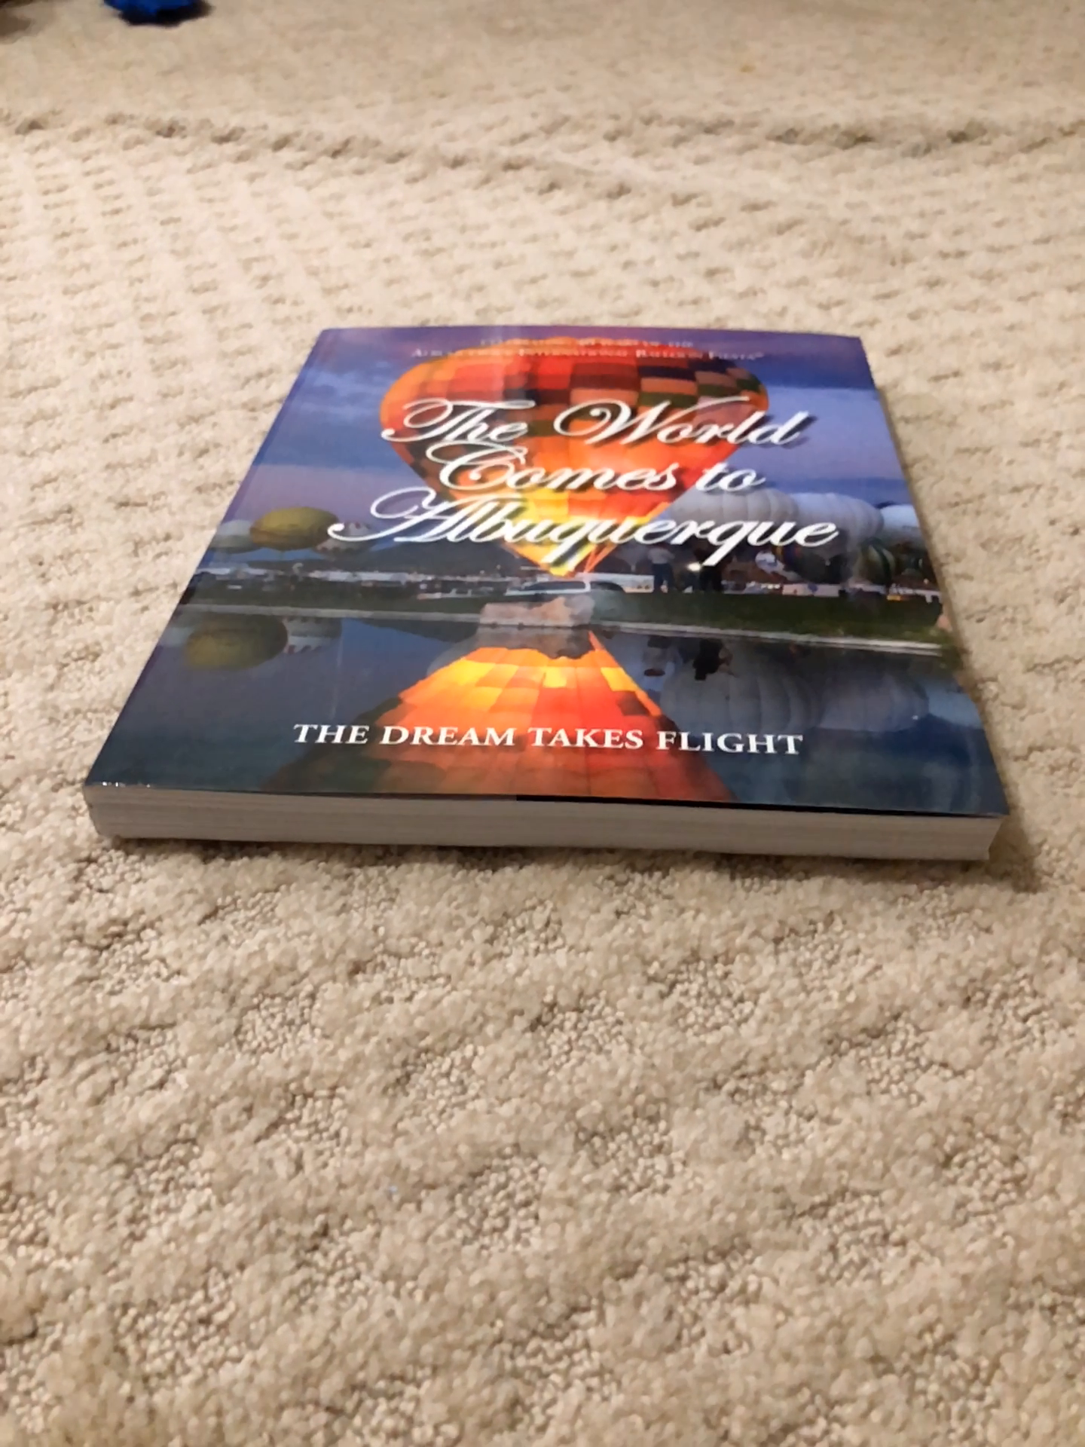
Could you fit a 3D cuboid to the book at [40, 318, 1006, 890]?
[{"bbox_3d":[0.003,-0.059,0.359,0.204,0.023,0.259,2,40,4],"label":"book"}]
